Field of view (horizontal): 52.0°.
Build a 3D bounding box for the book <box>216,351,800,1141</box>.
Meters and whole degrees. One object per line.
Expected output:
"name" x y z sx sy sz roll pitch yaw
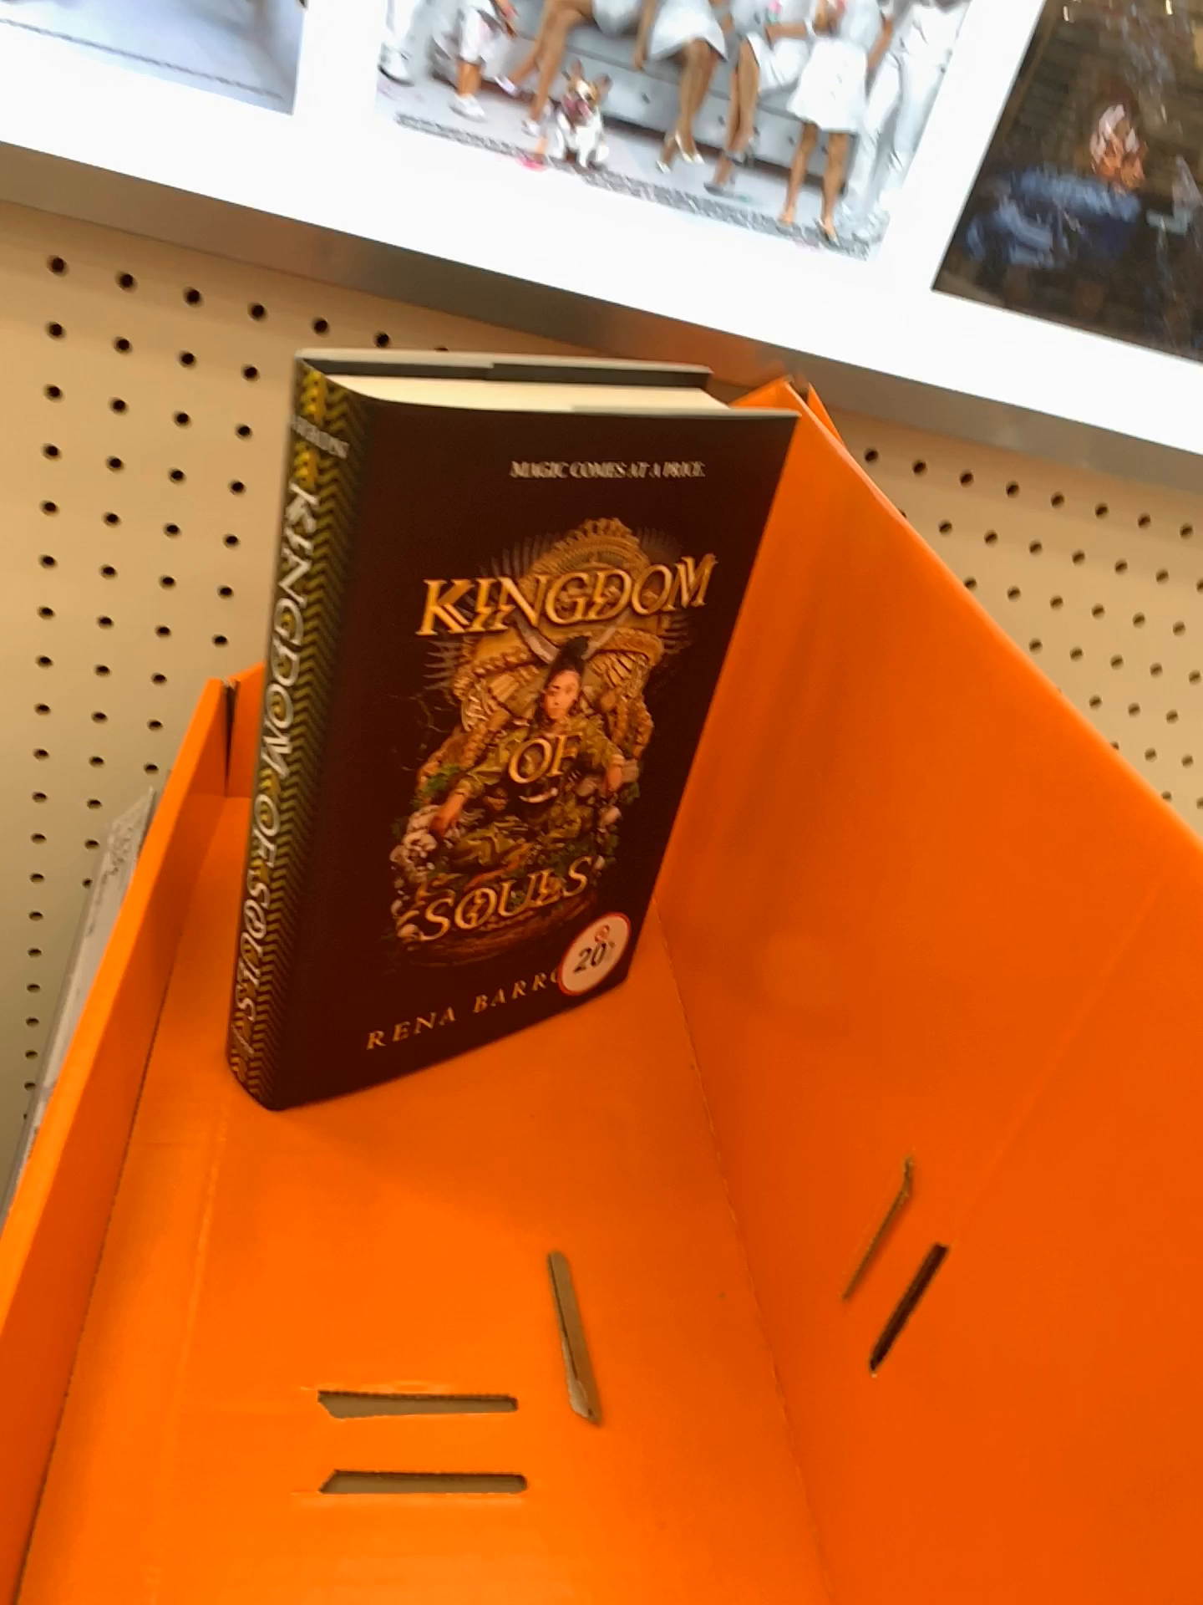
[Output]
"book" -0.035 -0.016 0.410 0.160 0.240 0.040 -13 38 -41
